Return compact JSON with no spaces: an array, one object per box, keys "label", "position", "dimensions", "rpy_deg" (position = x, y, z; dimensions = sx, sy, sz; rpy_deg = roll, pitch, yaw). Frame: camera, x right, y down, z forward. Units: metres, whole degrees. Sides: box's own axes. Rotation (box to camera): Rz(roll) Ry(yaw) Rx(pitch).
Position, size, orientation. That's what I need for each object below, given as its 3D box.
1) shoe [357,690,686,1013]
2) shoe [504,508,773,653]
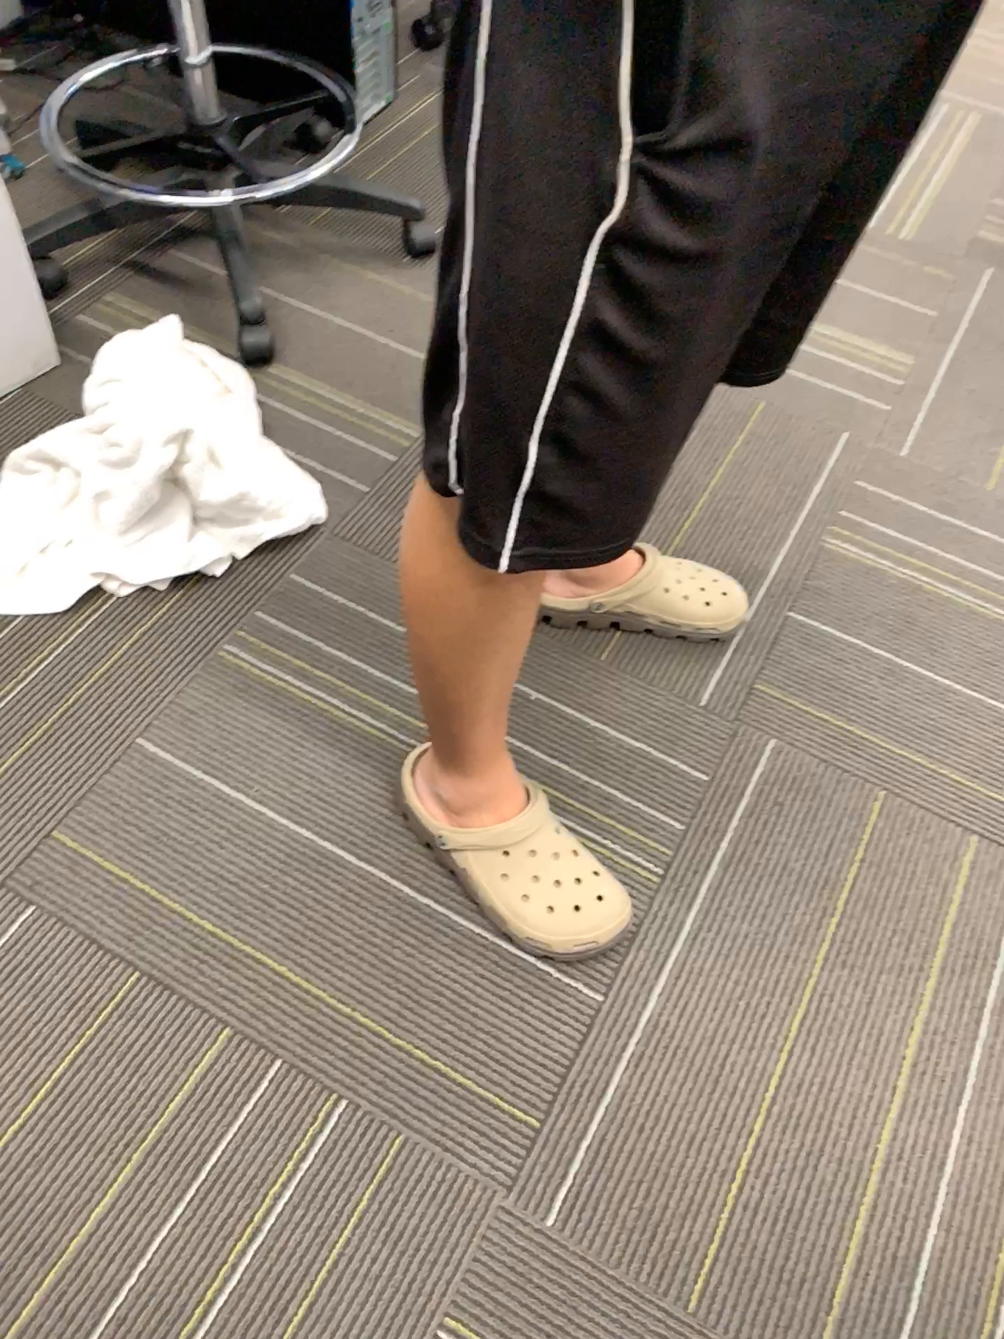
[{"label":"shoe","position":[0.013,0.187,1.109],"dimensions":[0.331,0.090,0.150],"rpy_deg":[38,60,22]},{"label":"shoe","position":[0.173,-0.117,1.348],"dimensions":[0.330,0.090,0.141],"rpy_deg":[4,53,-1]}]
